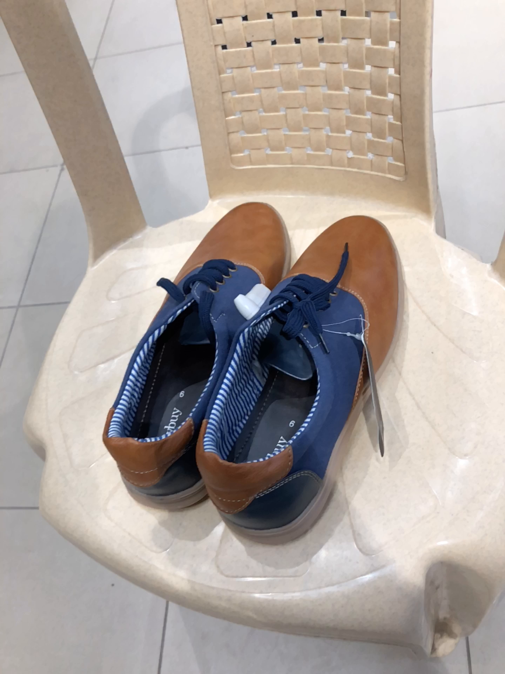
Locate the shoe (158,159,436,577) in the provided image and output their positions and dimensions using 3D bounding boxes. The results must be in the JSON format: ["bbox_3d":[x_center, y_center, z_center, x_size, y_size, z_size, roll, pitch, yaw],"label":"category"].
[{"bbox_3d":[0.049,0.015,0.392,0.103,0.120,0.252,11,65,21],"label":"shoe"}]

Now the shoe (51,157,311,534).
[{"bbox_3d":[-0.034,0.000,0.425,0.103,0.113,0.254,4,62,17],"label":"shoe"}]
